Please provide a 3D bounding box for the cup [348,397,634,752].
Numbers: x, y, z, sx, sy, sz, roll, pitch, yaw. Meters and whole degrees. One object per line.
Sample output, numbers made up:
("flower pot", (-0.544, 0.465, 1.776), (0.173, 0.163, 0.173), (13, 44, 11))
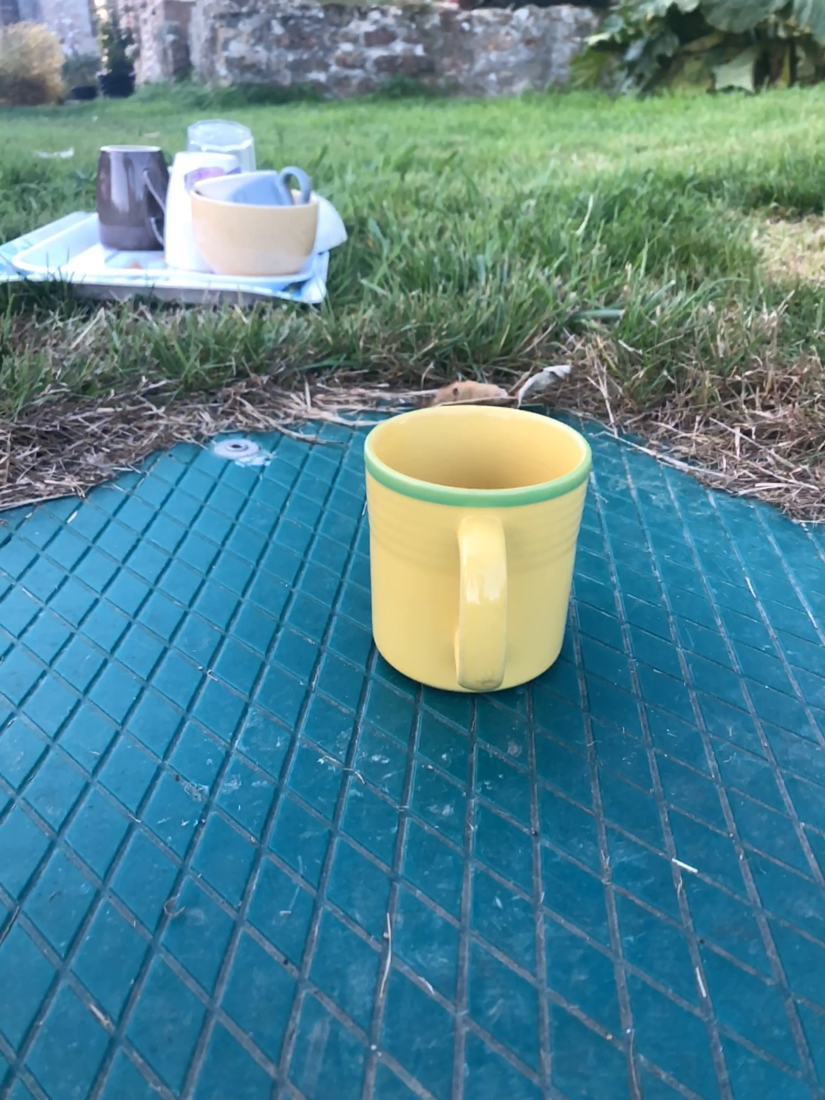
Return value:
("cup", (0.024, 0.003, 0.345), (0.086, 0.090, 0.115), (1, 26, 1))
